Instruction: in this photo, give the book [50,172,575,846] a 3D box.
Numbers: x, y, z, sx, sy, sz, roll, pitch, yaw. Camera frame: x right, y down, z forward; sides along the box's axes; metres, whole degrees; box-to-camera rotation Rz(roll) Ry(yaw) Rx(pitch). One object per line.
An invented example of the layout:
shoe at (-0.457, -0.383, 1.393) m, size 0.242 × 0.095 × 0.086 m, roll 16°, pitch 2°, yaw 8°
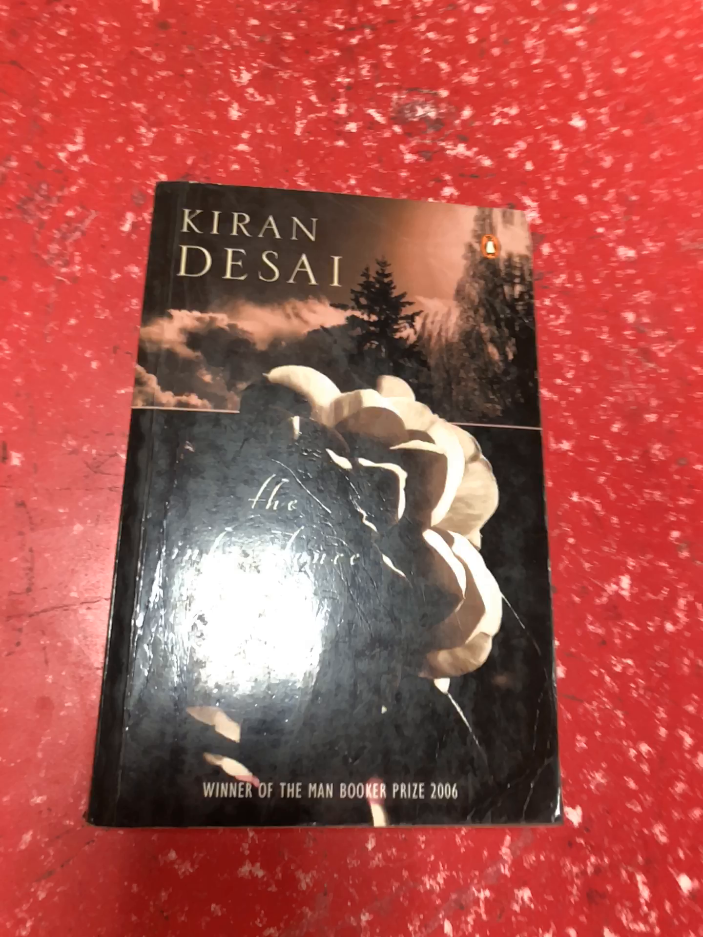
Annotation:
book at (-0.009, 0.011, 0.250) m, size 0.130 × 0.060 × 0.190 m, roll 3°, pitch 73°, yaw -6°
